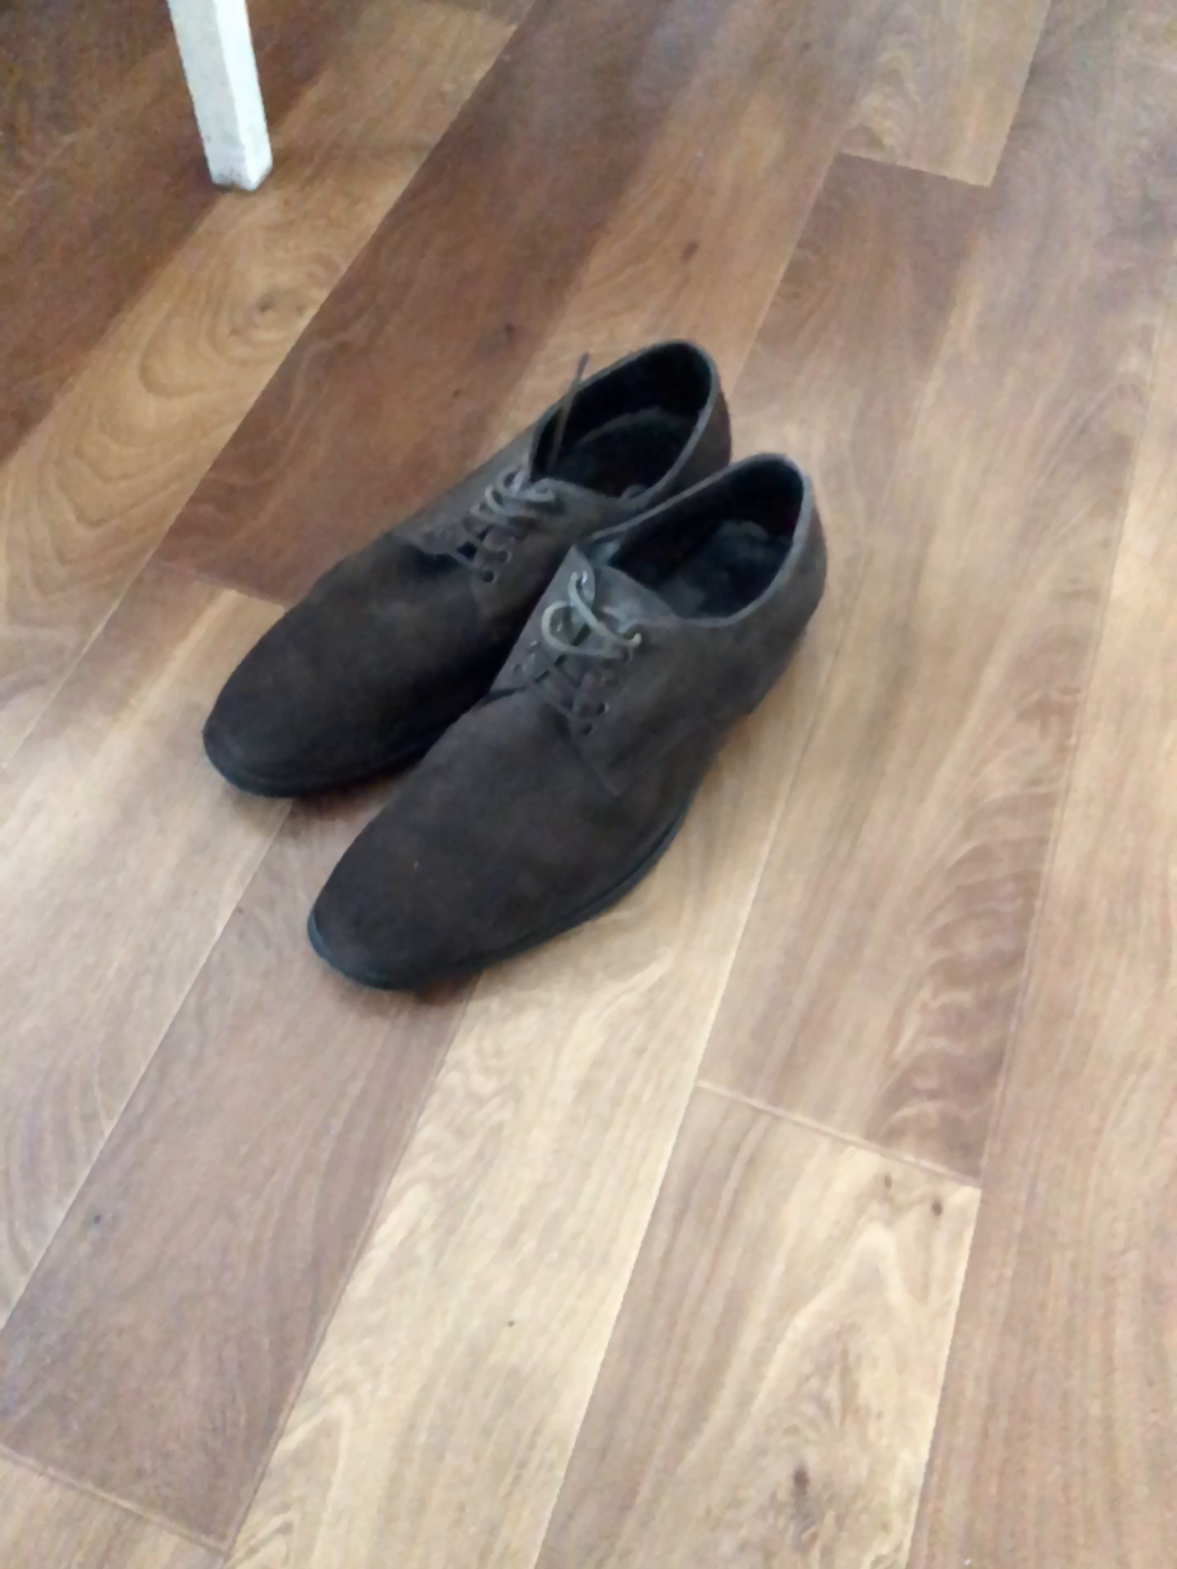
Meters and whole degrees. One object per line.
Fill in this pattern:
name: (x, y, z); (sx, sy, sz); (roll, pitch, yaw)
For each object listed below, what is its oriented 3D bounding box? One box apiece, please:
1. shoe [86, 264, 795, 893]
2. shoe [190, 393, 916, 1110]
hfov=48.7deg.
shoe: (-0.056, -0.107, 0.617); (0.120, 0.100, 0.311); (41, 66, 20)
shoe: (-0.004, -0.026, 0.574); (0.120, 0.100, 0.311); (37, 65, 18)
